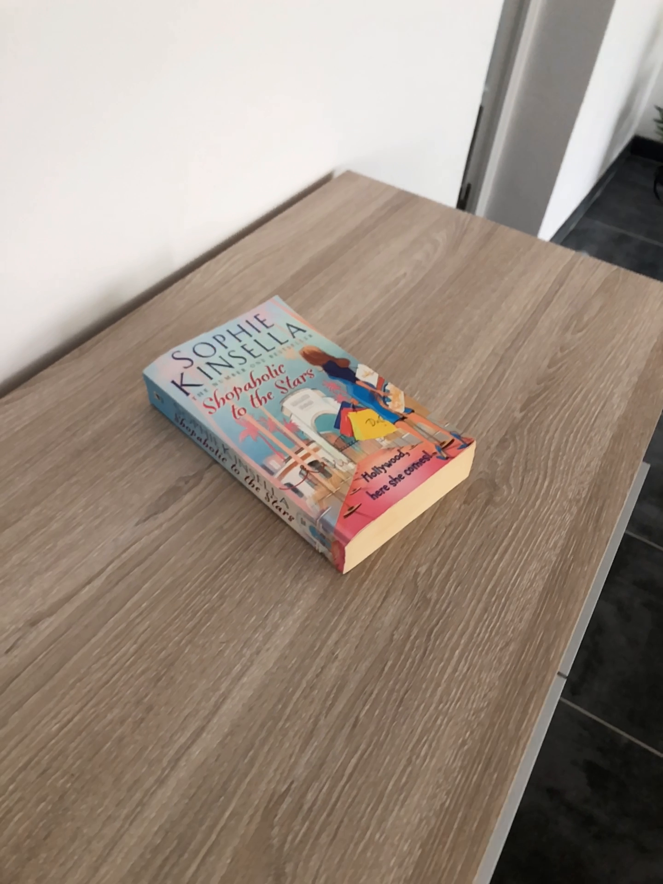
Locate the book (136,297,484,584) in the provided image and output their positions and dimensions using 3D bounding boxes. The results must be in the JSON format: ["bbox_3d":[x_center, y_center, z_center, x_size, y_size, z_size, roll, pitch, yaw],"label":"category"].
[{"bbox_3d":[-0.018,-0.014,0.502,0.200,0.040,0.131,38,52,27],"label":"book"}]
